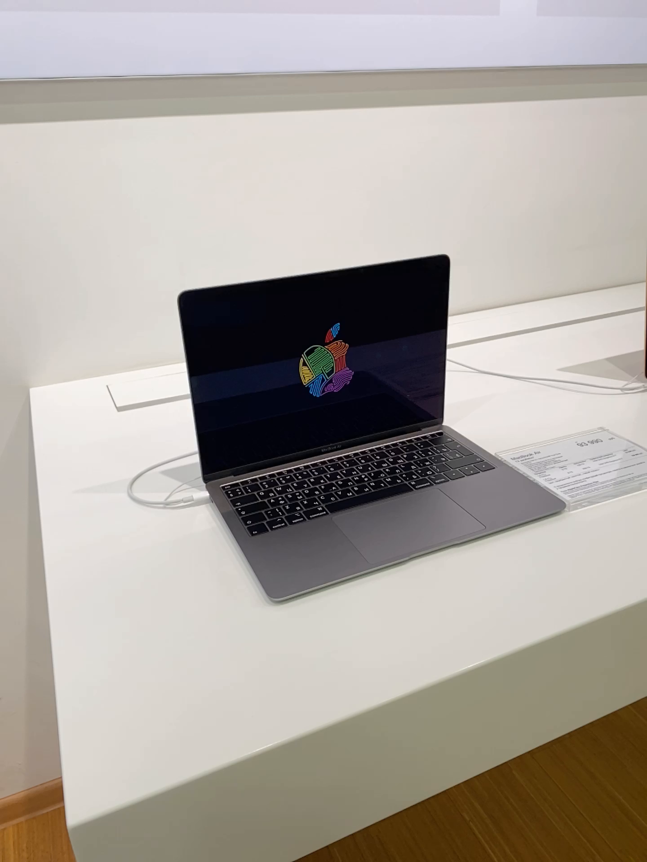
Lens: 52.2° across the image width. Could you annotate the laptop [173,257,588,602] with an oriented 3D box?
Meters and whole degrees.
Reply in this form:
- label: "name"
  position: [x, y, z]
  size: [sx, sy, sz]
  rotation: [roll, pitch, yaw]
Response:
- label: "laptop"
  position: [0.043, -0.030, 0.635]
  size: [0.301, 0.211, 0.226]
  rotation: [-12, 25, -21]
